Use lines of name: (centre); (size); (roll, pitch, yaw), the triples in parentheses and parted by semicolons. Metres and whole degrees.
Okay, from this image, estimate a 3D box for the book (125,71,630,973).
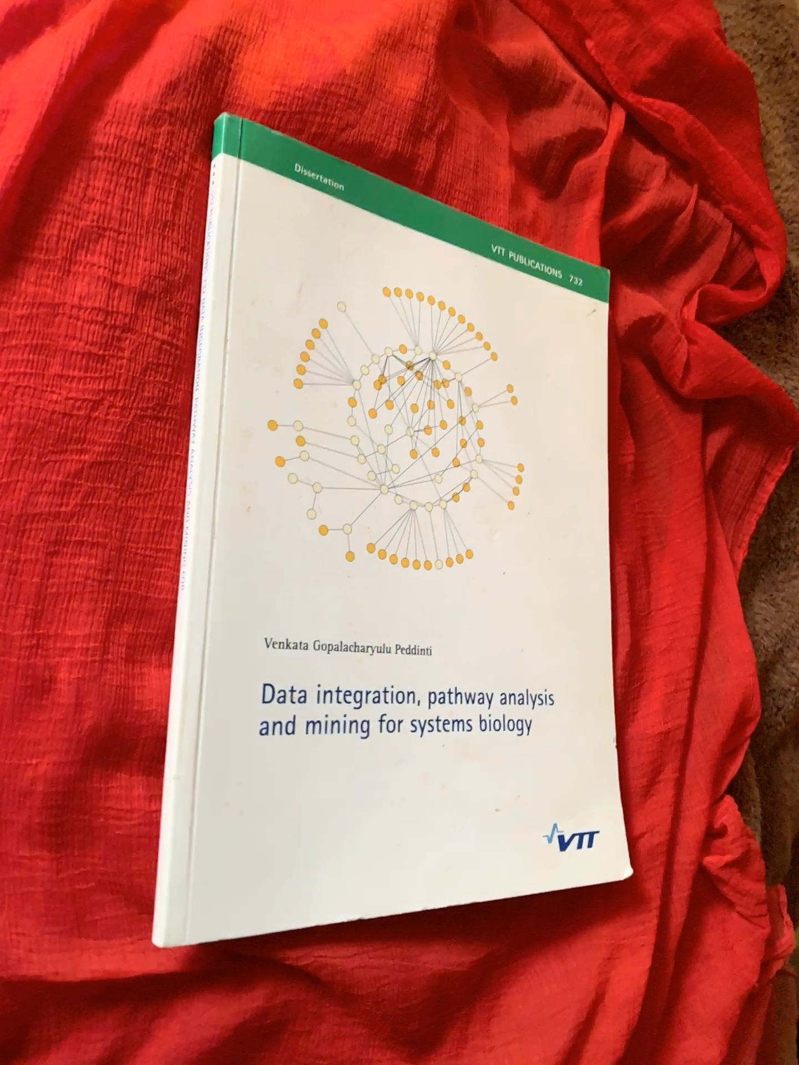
book: (0.008, -0.005, 0.298); (0.181, 0.020, 0.270); (8, 77, -31)
